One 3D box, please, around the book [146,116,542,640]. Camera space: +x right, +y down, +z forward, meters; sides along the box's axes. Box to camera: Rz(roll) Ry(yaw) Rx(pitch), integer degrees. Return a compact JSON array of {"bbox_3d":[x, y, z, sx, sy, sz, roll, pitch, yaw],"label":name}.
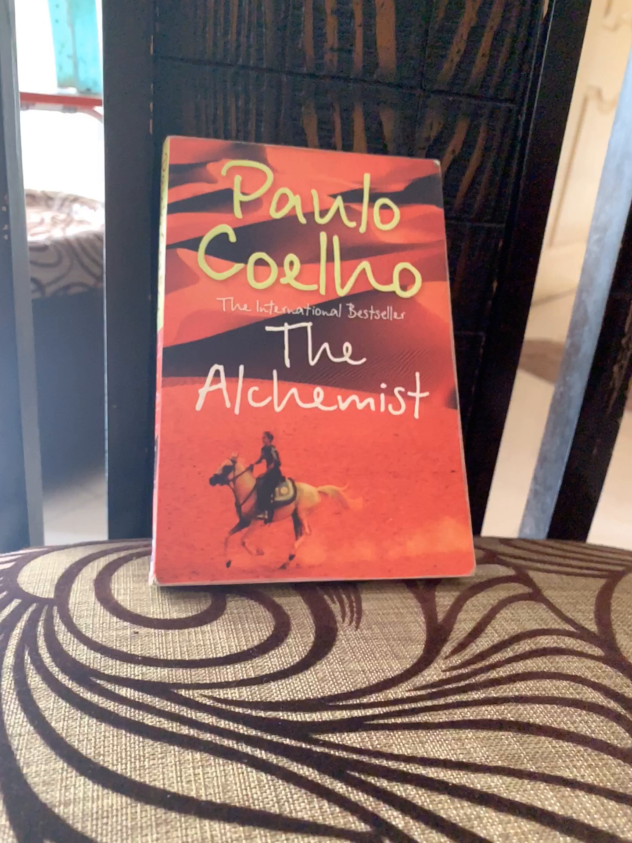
[{"bbox_3d":[0.004,-0.024,0.268,0.140,0.201,0.030,0,-18,-15],"label":"book"}]
